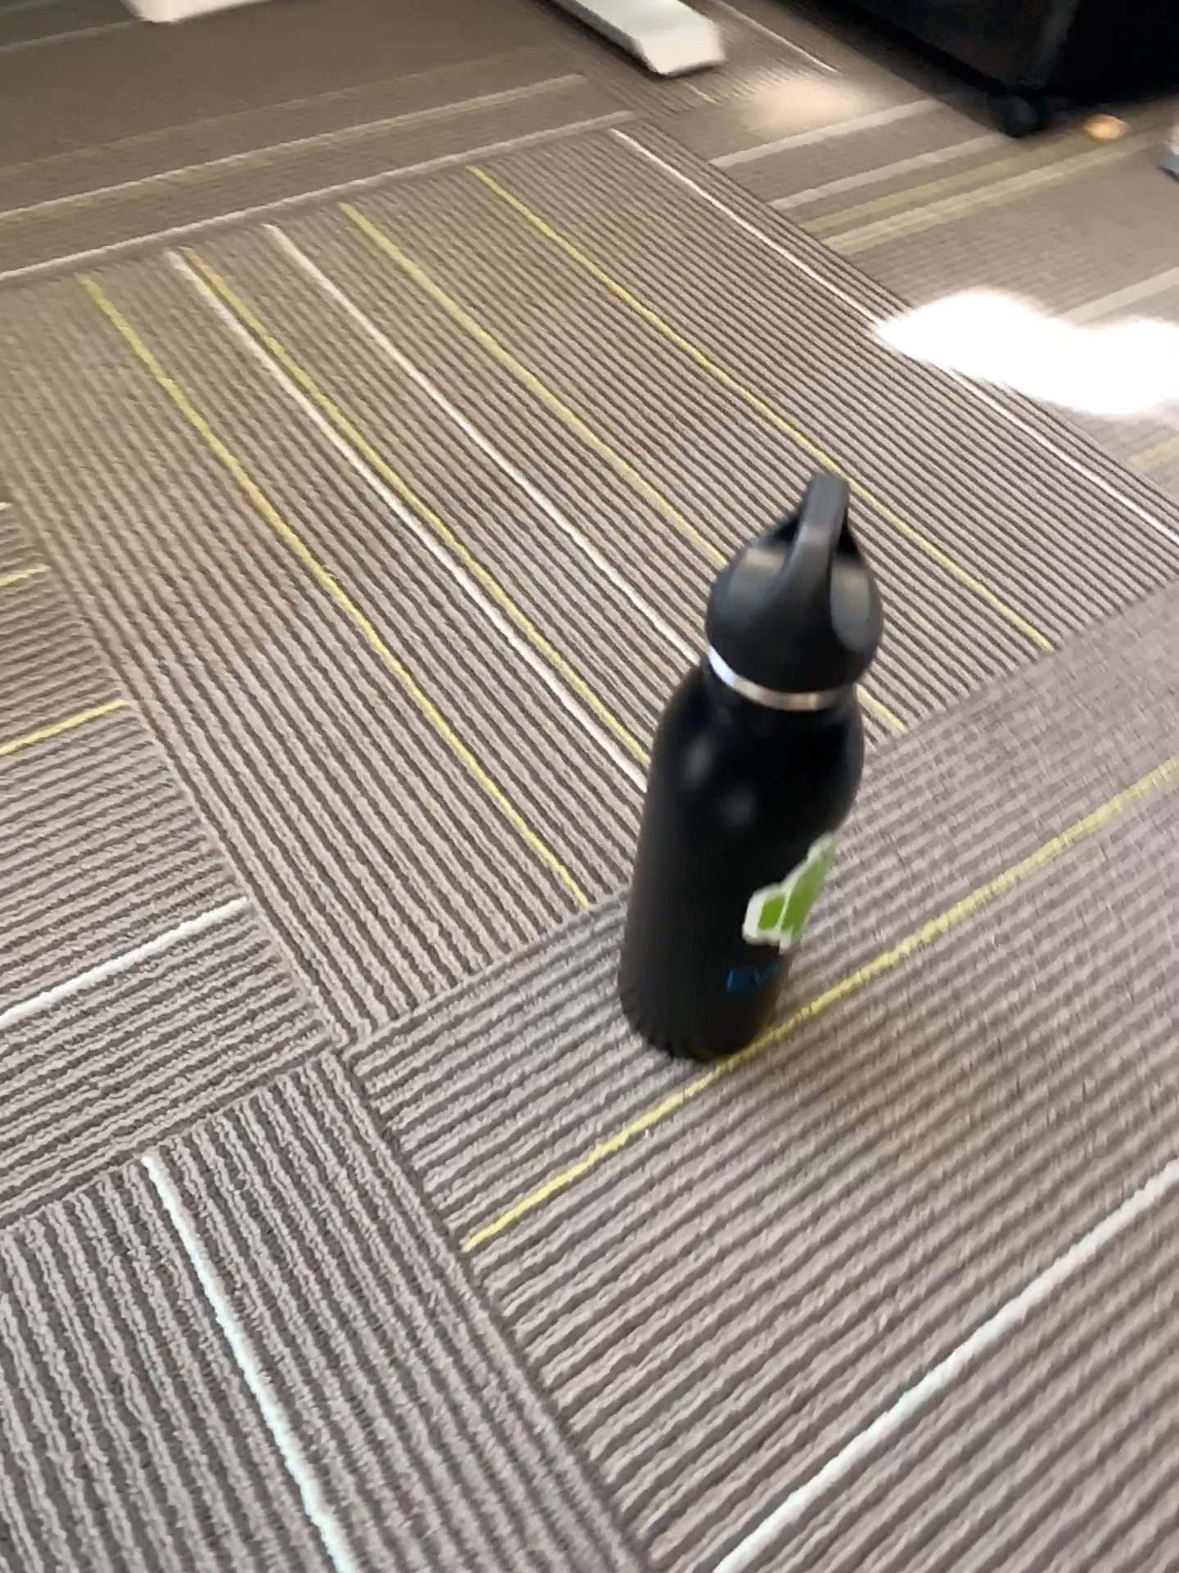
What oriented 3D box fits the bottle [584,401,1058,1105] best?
[{"bbox_3d":[0.064,0.006,0.417,0.080,0.239,0.090,29,56,16],"label":"bottle"}]
